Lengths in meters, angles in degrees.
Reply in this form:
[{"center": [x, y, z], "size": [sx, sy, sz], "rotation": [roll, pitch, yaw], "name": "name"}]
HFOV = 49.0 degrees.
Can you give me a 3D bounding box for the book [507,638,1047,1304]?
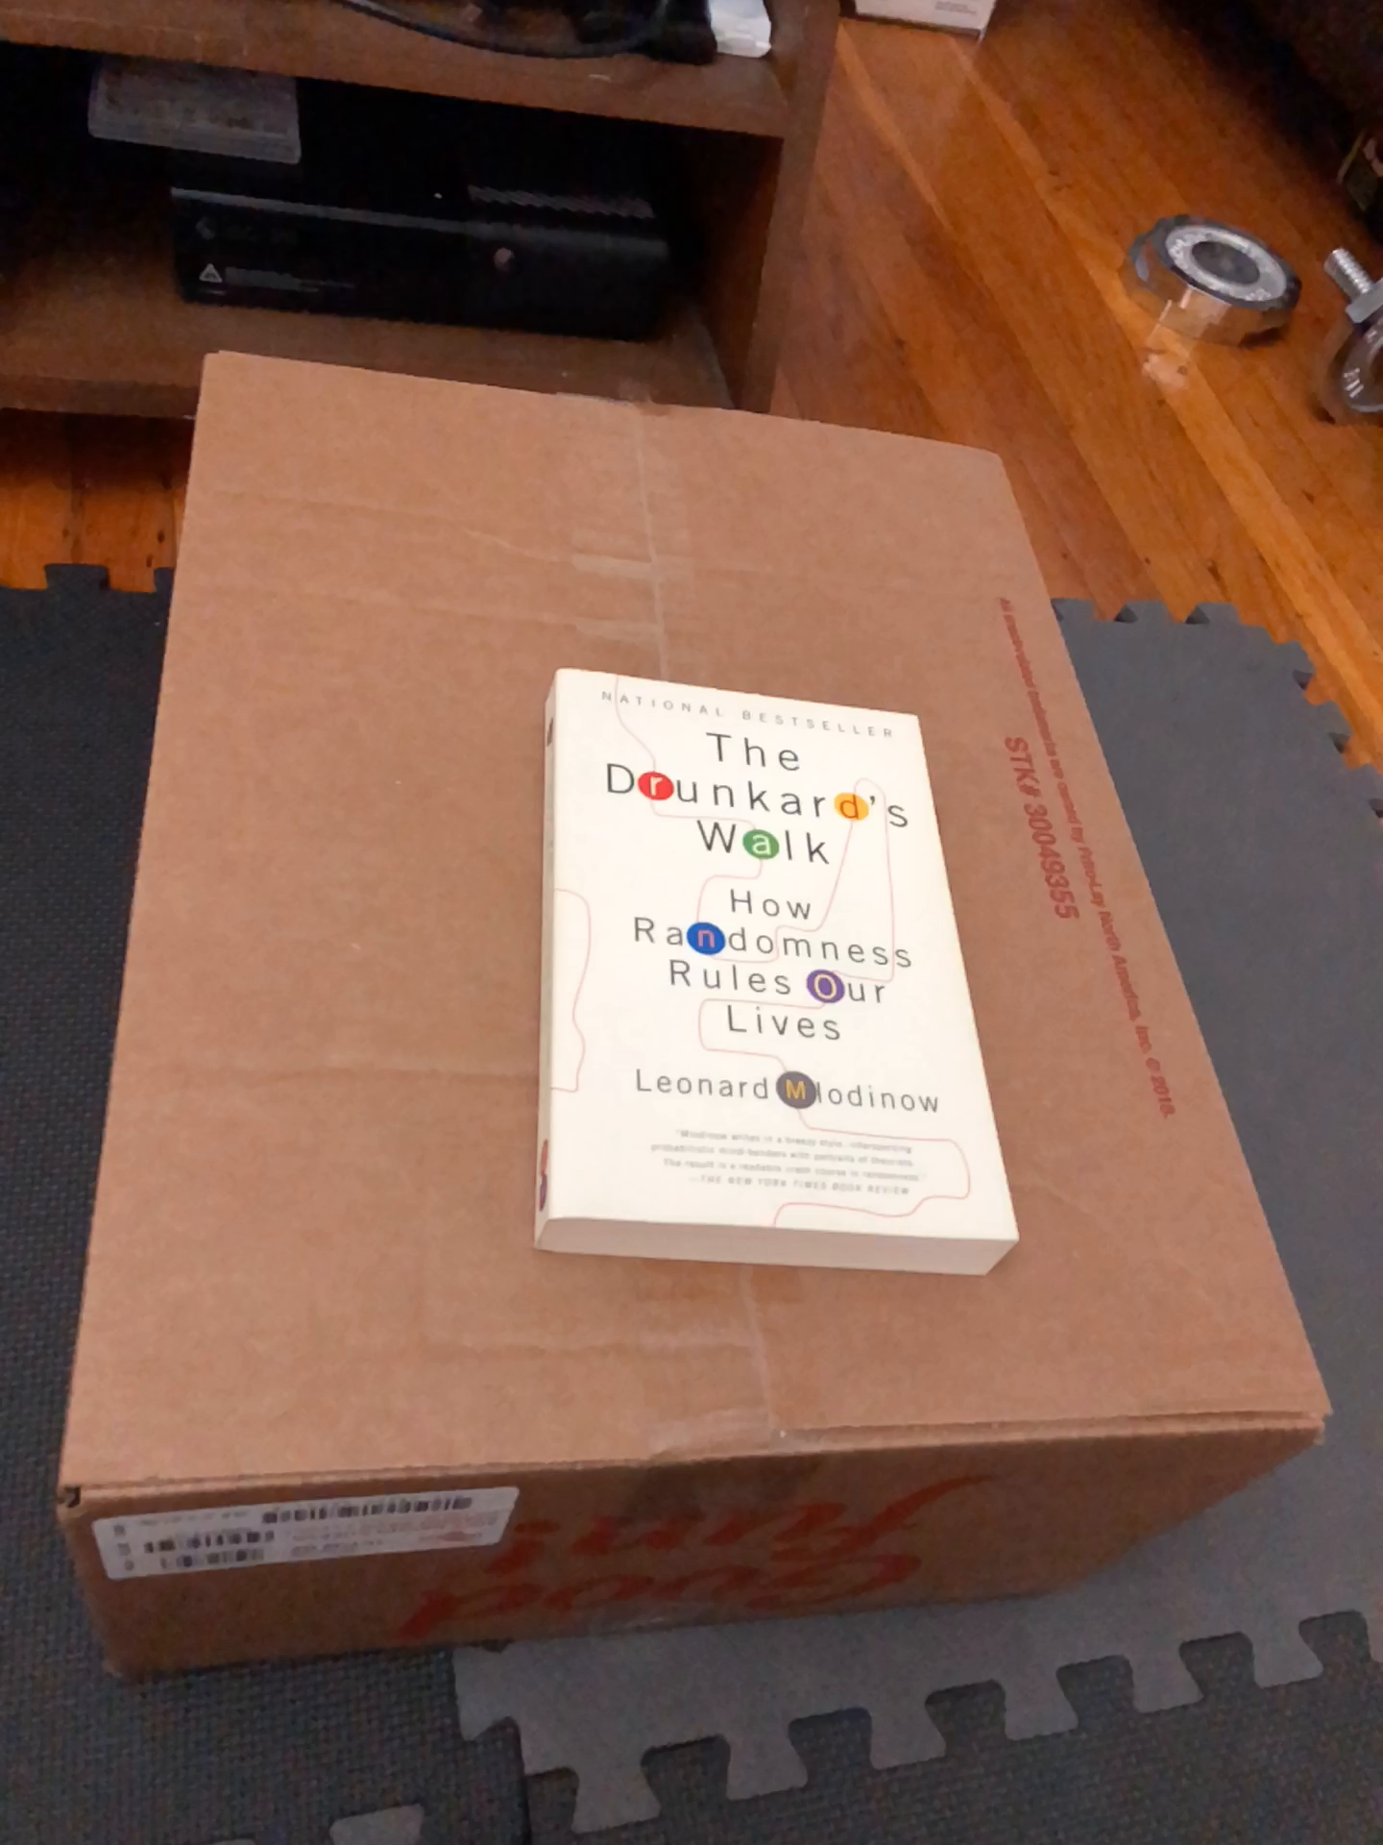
[{"center": [0.017, 0.008, 0.470], "size": [0.140, 0.040, 0.211], "rotation": [5, 53, -12], "name": "book"}]
